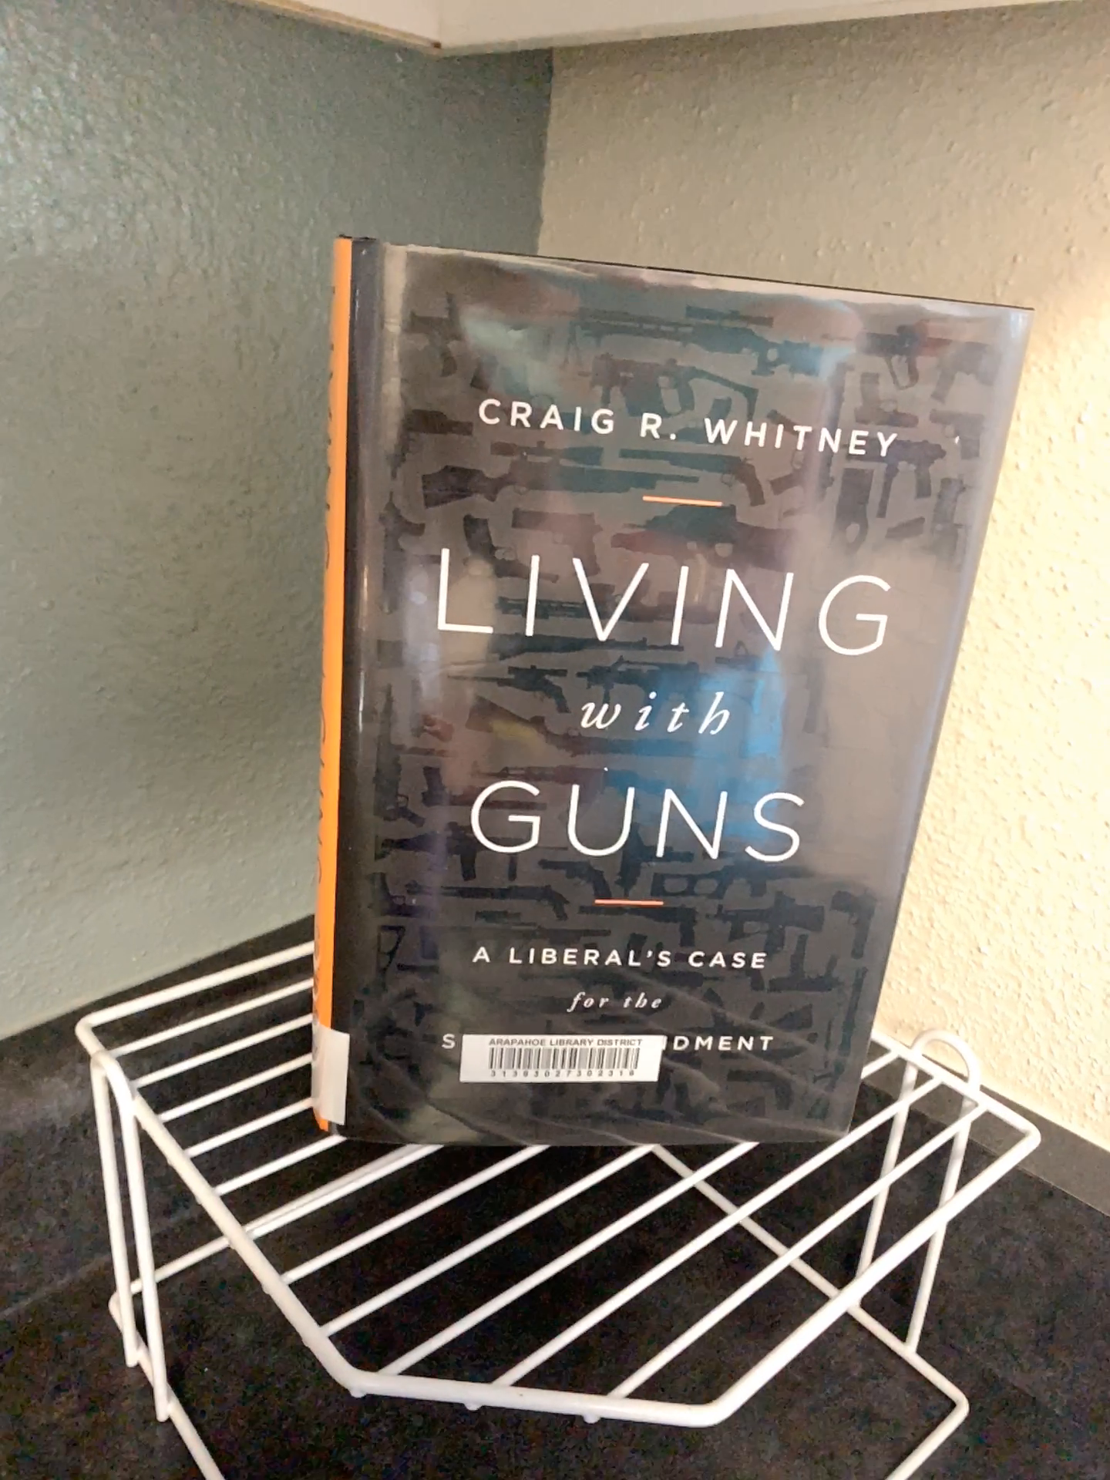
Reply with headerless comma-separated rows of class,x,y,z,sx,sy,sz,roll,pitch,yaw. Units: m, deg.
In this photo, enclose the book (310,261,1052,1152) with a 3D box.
book,0.023,0.001,0.312,0.171,0.229,0.040,2,16,-5
